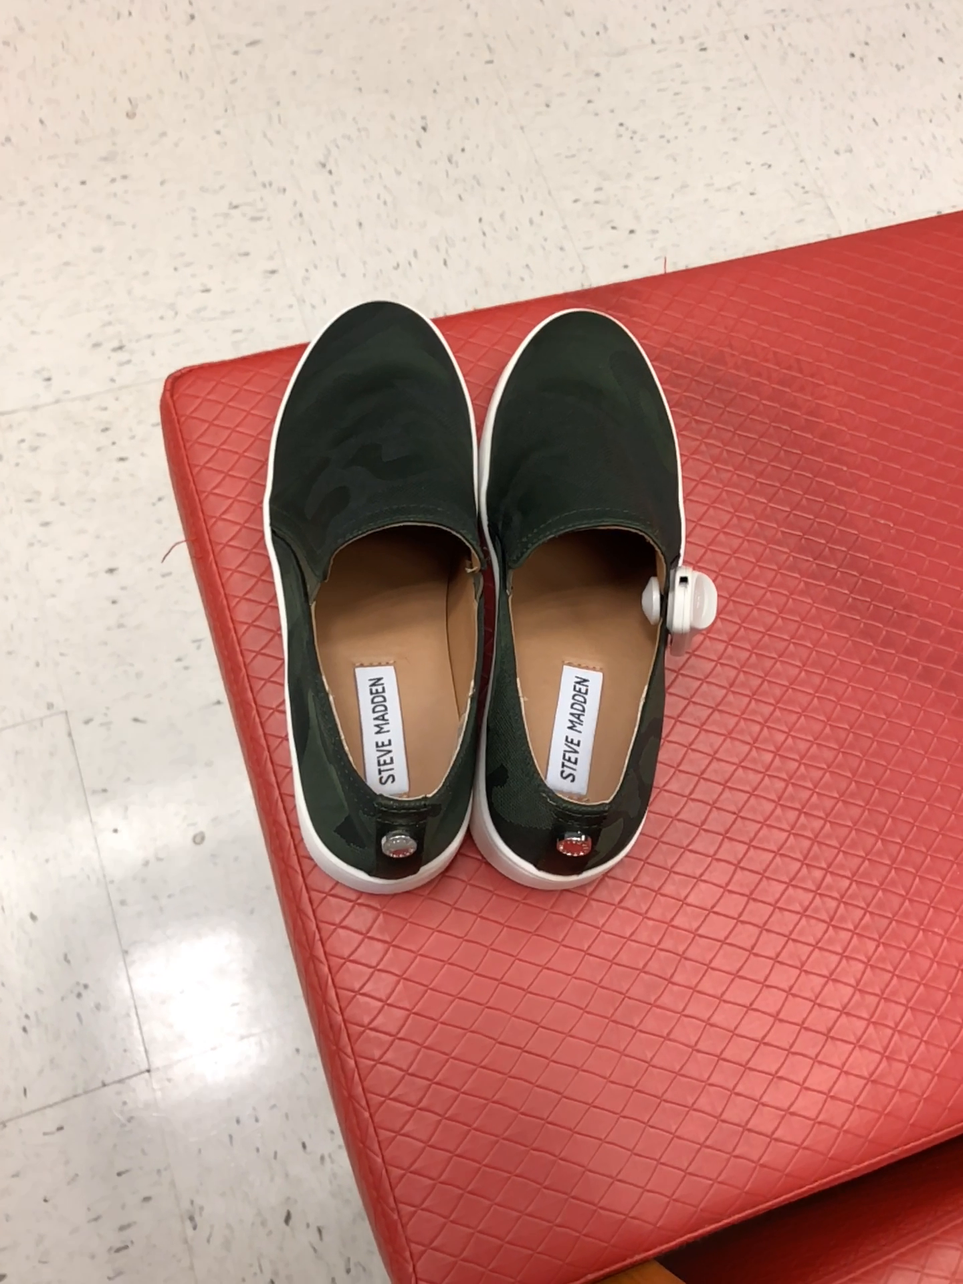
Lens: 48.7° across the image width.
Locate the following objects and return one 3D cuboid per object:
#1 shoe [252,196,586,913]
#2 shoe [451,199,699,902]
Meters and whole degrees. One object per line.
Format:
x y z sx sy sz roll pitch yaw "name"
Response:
-0.034 -0.040 0.434 0.105 0.086 0.276 -3 70 -8 "shoe"
0.040 -0.040 0.445 0.077 0.086 0.276 6 69 -4 "shoe"
